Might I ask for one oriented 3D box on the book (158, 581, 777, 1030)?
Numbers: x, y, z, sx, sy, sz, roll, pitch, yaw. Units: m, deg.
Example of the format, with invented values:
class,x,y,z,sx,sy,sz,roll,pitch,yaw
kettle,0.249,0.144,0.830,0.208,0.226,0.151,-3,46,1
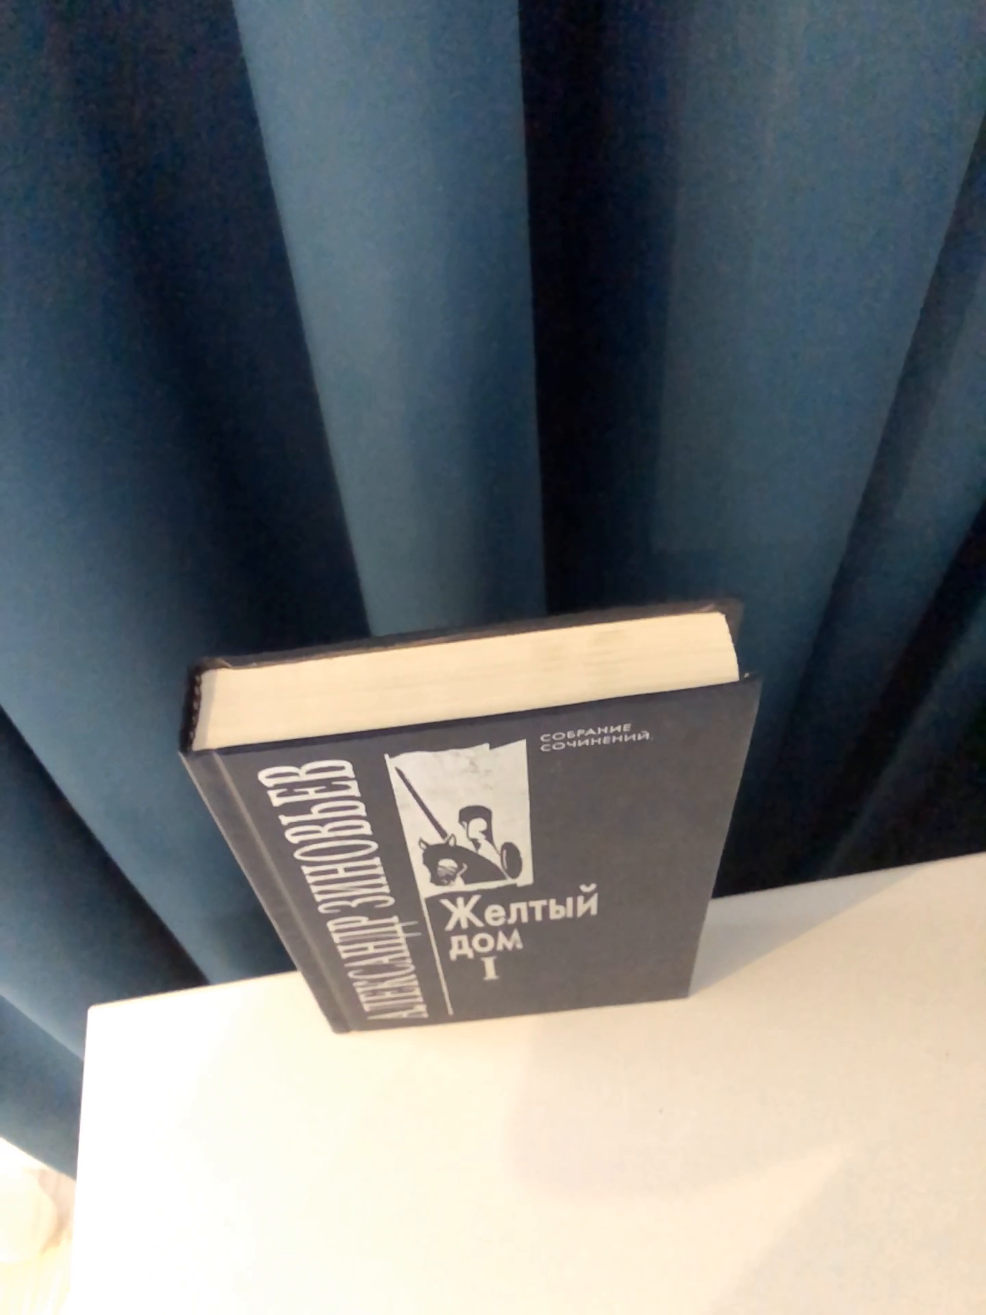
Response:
class,x,y,z,sx,sy,sz,roll,pitch,yaw
book,0.000,0.062,0.341,0.140,0.210,0.033,-6,55,0
